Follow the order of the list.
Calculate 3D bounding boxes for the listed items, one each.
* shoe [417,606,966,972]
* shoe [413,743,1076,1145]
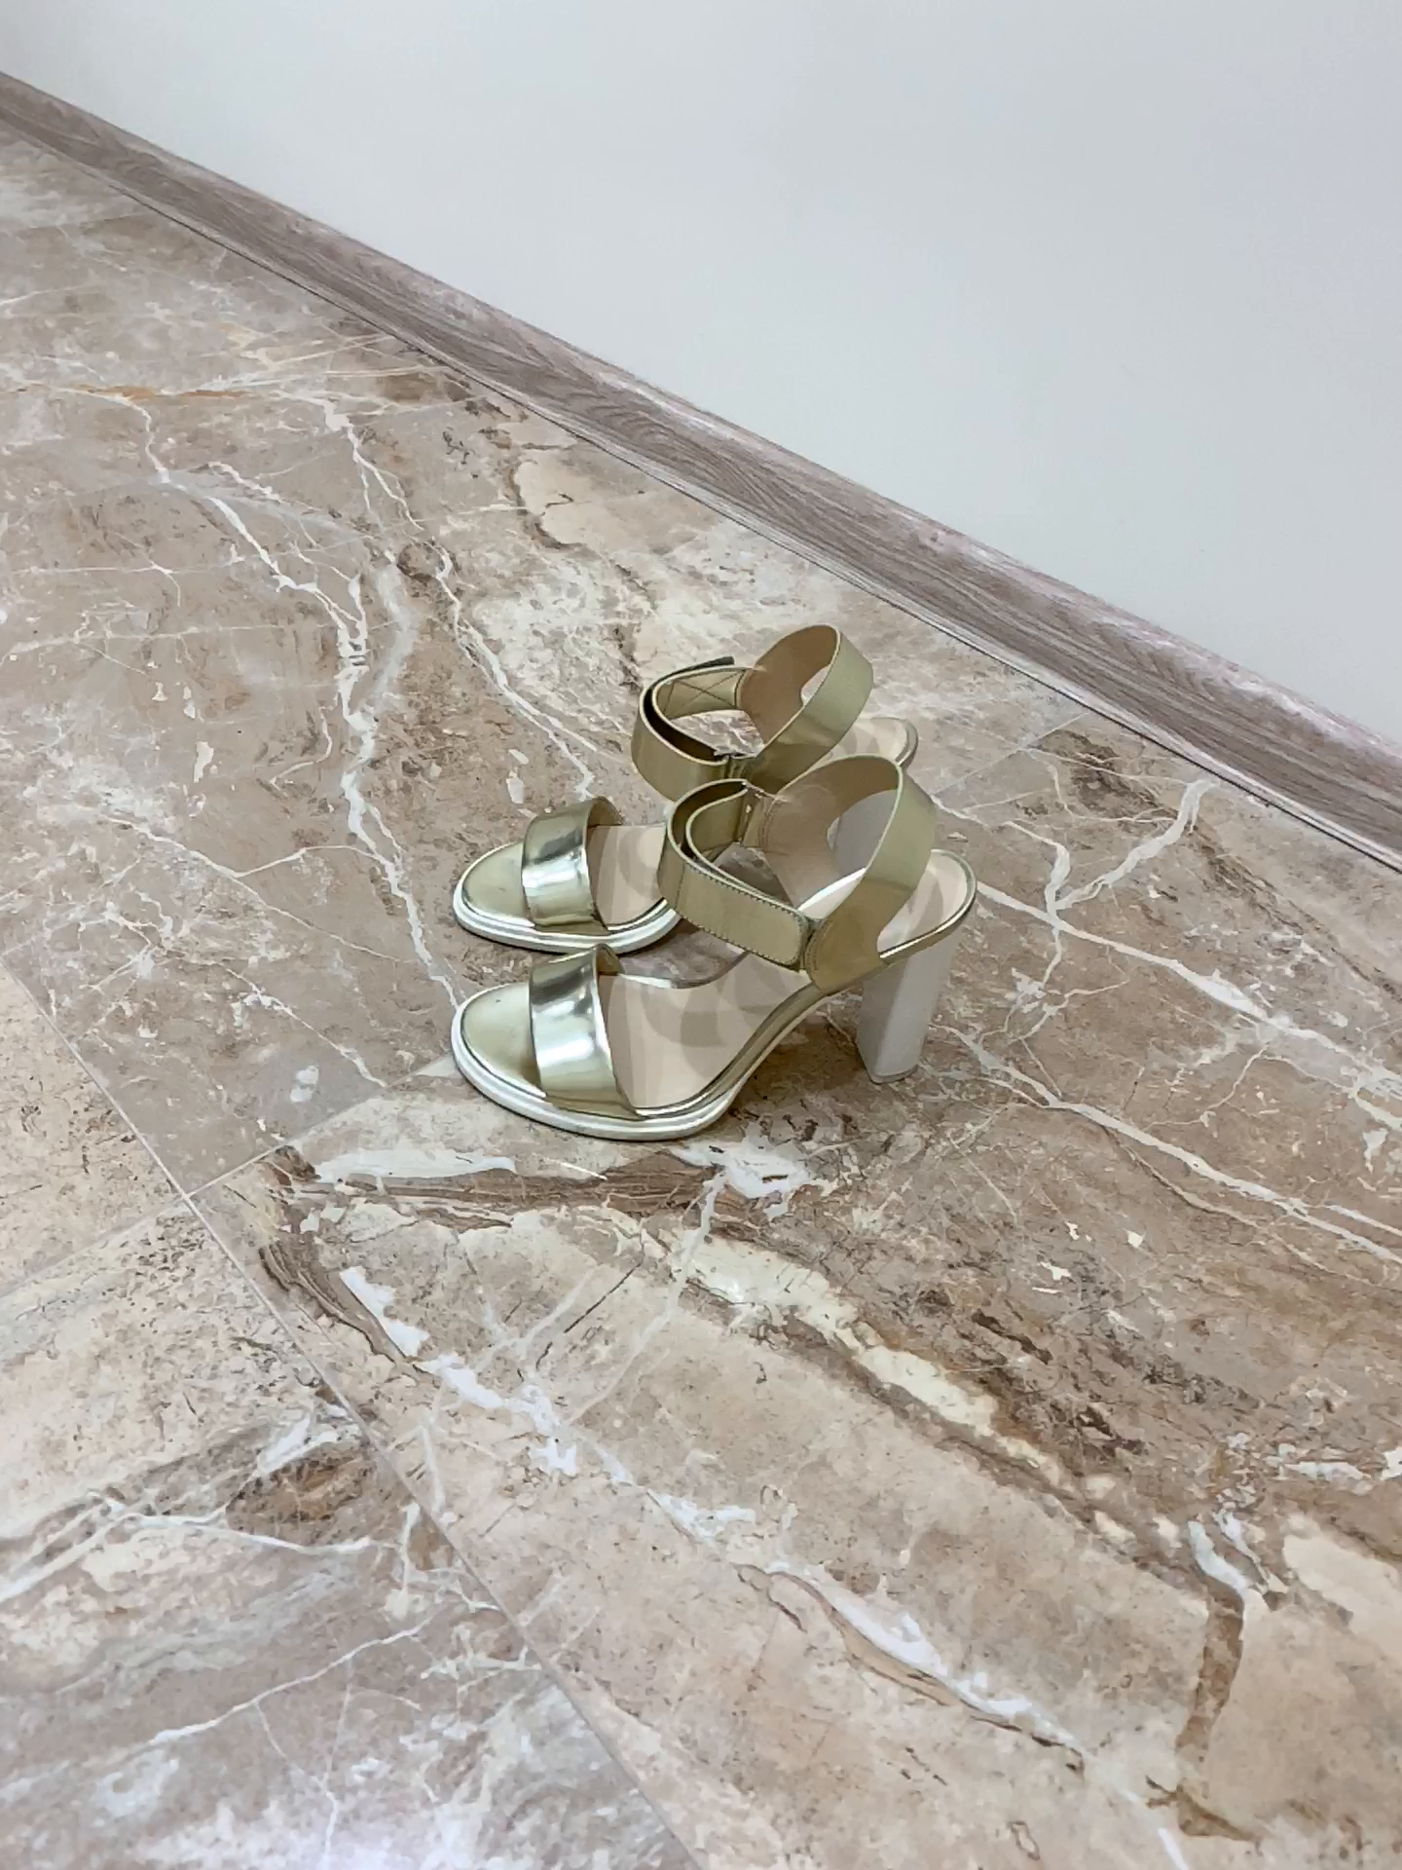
[{"bbox_3d":[-0.009,-0.064,0.651,0.220,0.129,0.096,1,41,-5],"label":"shoe"},{"bbox_3d":[0.010,0.004,0.570,0.230,0.119,0.101,0,41,-6],"label":"shoe"}]
